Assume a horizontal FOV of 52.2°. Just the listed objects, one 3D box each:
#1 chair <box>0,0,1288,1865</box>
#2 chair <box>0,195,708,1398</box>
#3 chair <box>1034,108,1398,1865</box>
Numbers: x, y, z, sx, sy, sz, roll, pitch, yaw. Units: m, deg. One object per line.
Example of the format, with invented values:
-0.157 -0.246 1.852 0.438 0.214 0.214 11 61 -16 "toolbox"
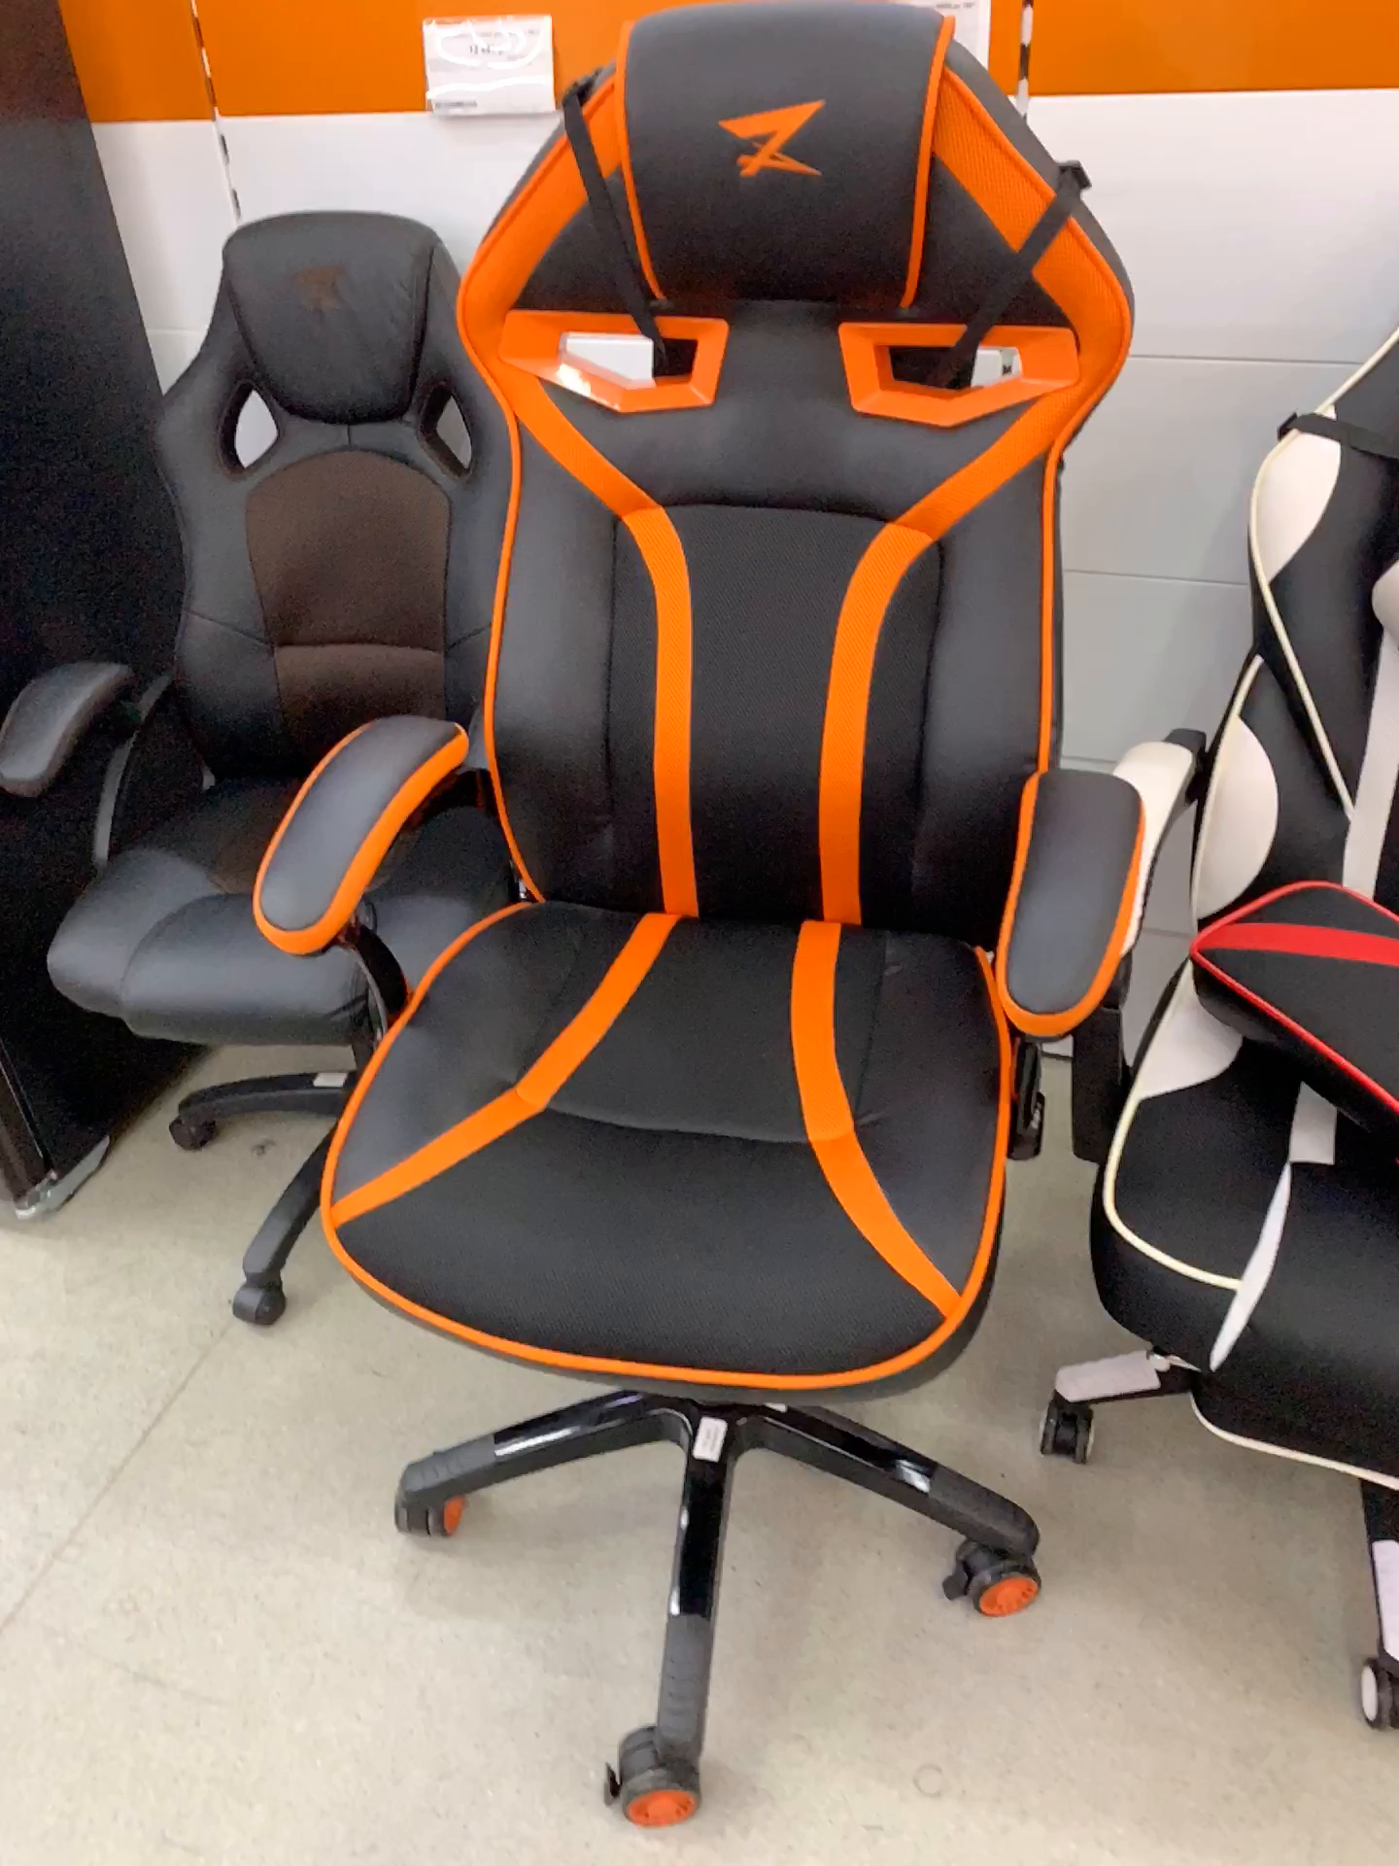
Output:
-0.021 0.034 1.170 0.720 1.312 0.734 9 37 18 "chair"
-0.512 -0.167 1.890 0.820 1.322 0.724 5 36 13 "chair"
0.793 0.026 1.259 0.850 1.193 0.825 5 36 13 "chair"
